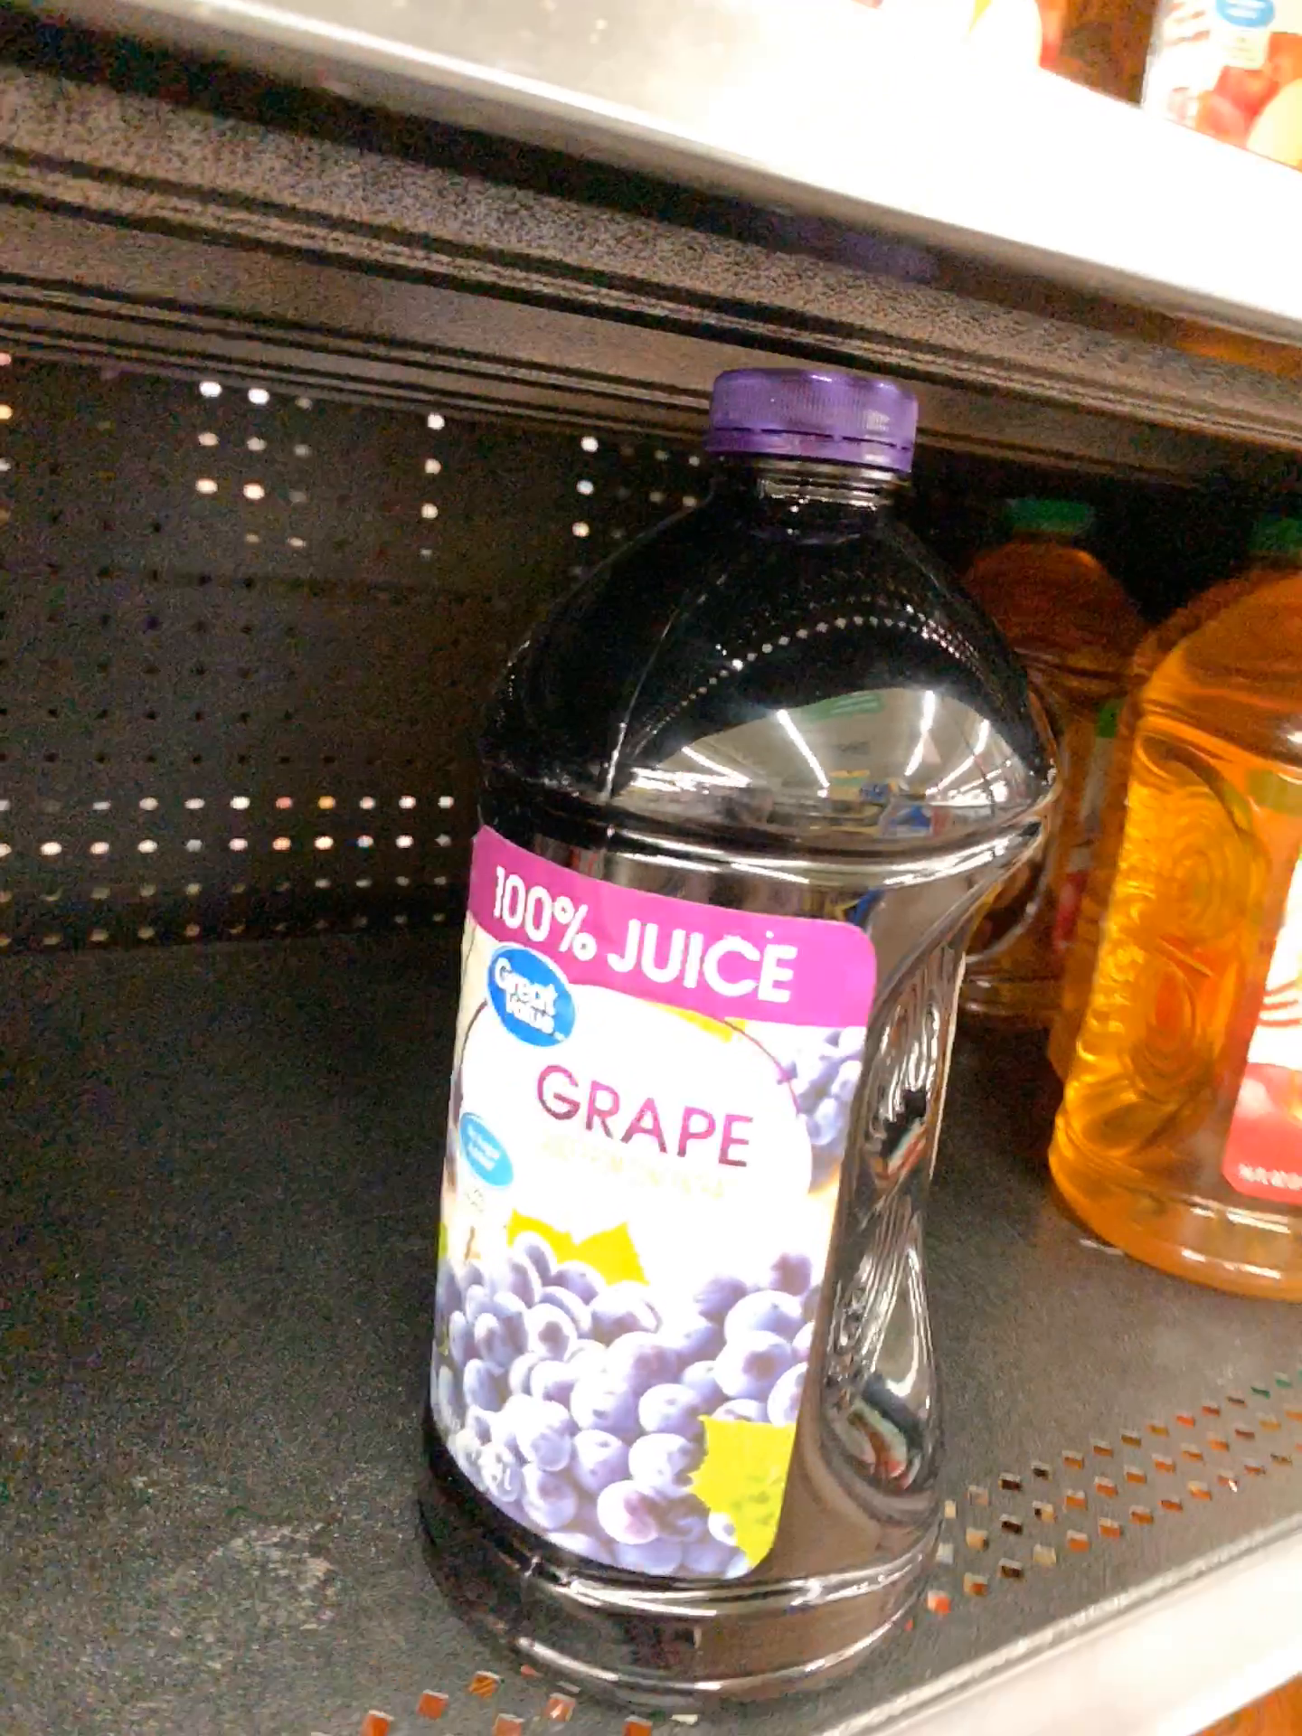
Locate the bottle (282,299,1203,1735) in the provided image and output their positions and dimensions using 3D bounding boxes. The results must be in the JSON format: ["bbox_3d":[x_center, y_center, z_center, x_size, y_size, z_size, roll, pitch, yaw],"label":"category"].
[{"bbox_3d":[0.019,0.031,0.314,0.130,0.279,0.140,7,15,-2],"label":"bottle"}]
